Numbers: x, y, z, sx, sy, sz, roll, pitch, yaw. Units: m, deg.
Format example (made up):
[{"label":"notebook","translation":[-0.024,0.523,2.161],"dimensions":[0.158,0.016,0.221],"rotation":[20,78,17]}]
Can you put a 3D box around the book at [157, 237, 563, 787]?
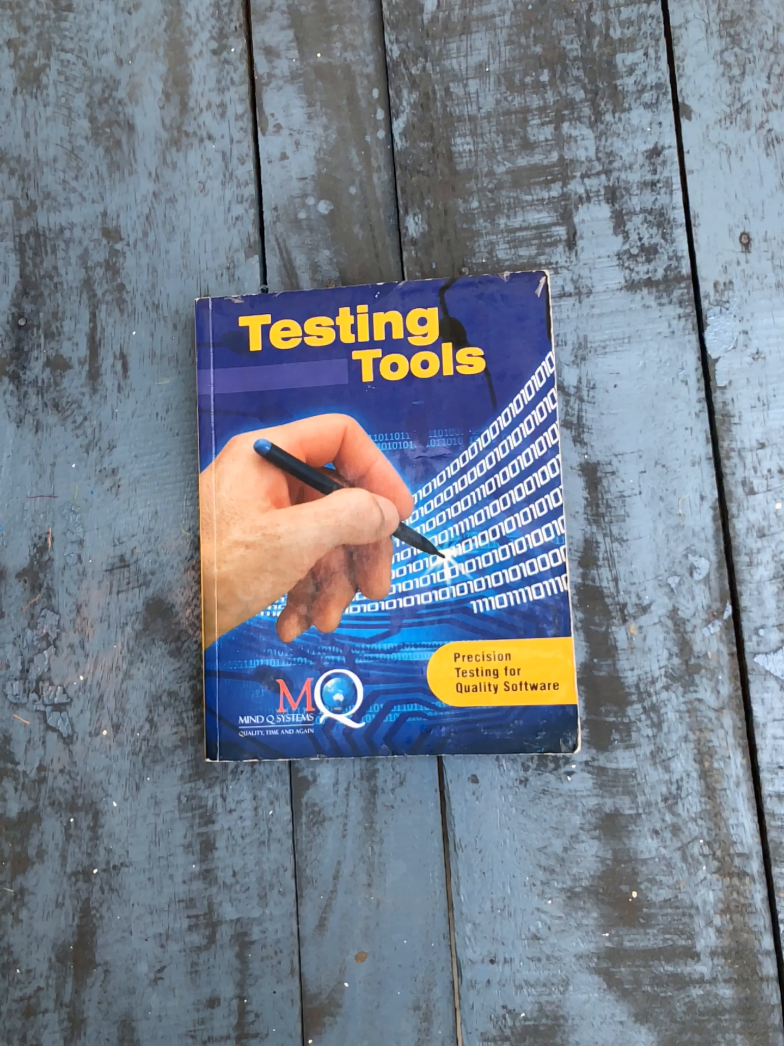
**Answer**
[{"label":"book","translation":[-0.020,-0.004,0.453],"dimensions":[0.190,0.050,0.260],"rotation":[-4,81,7]}]
